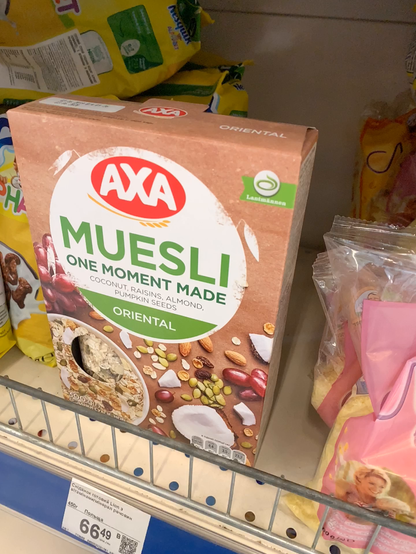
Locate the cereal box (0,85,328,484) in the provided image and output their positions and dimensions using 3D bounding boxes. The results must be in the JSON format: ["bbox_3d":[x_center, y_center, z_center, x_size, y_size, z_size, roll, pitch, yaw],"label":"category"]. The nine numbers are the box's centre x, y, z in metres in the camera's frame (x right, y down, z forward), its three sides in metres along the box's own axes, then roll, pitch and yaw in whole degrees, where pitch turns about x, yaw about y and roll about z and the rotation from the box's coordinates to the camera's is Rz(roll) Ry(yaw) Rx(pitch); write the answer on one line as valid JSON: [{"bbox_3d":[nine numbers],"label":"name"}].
[{"bbox_3d":[-0.027,0.013,0.263,0.150,0.218,0.050,14,35,18],"label":"cereal box"}]
